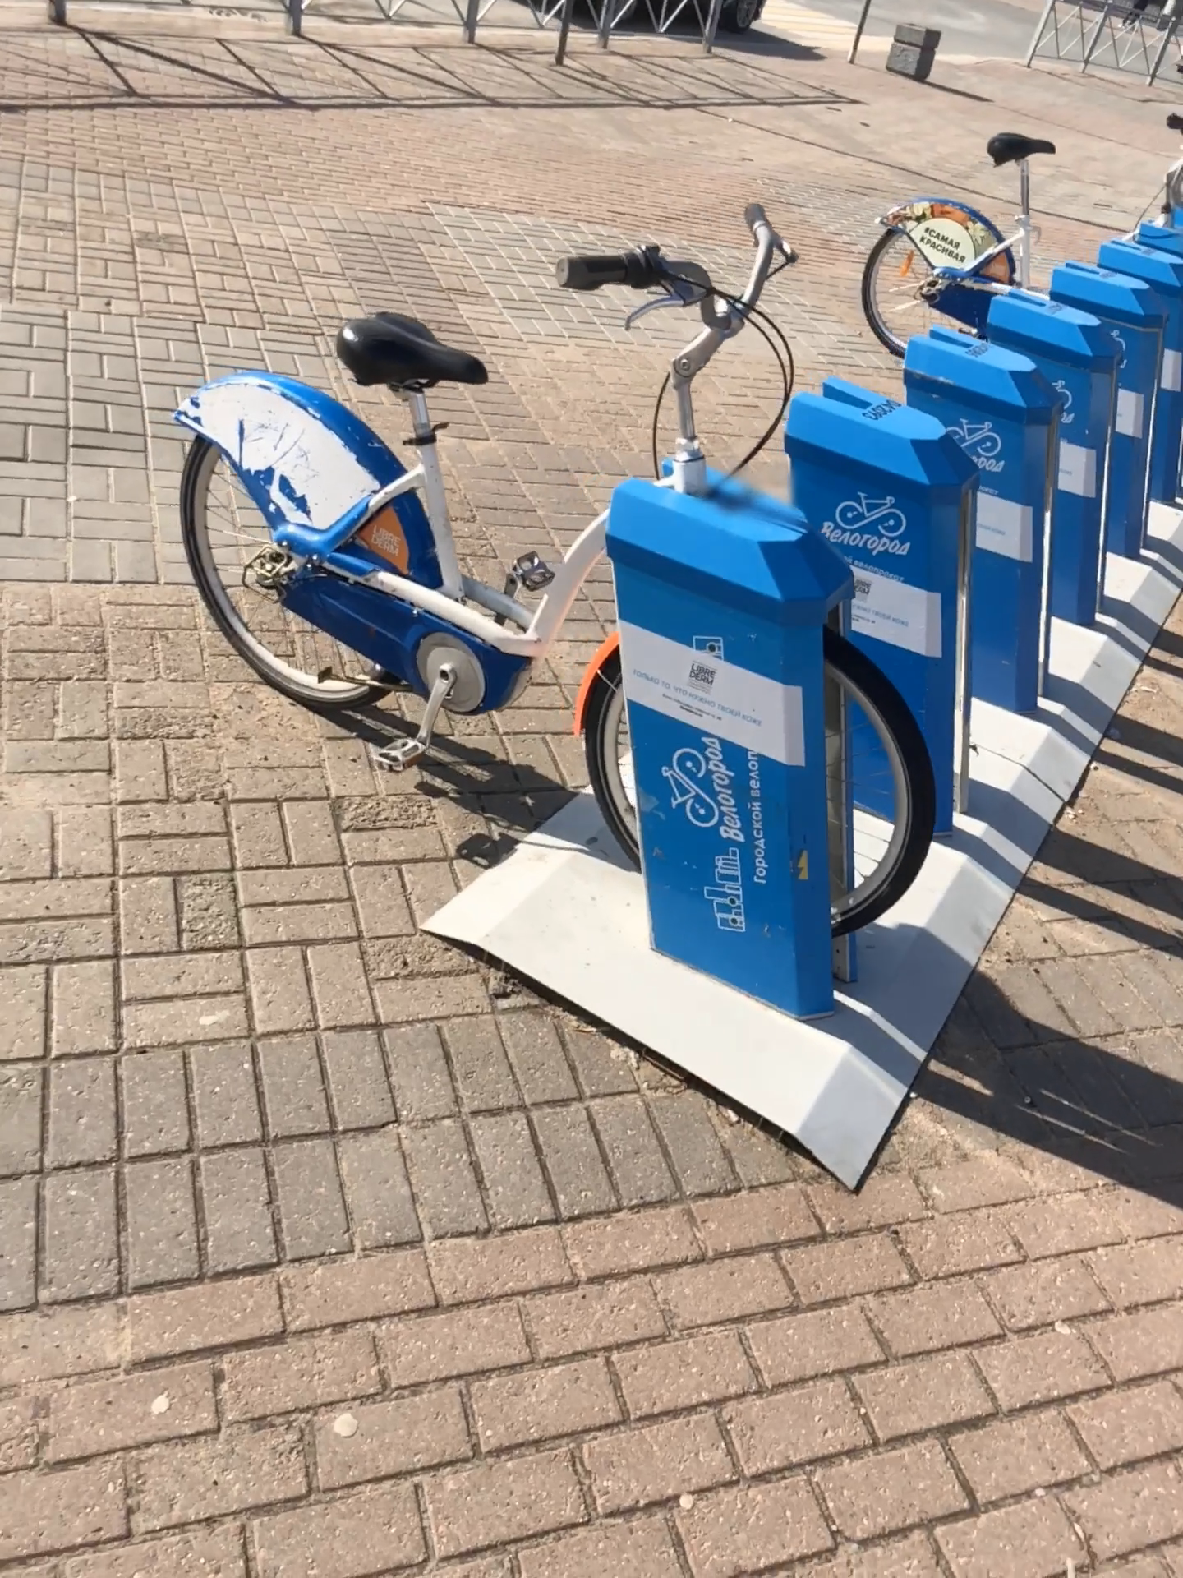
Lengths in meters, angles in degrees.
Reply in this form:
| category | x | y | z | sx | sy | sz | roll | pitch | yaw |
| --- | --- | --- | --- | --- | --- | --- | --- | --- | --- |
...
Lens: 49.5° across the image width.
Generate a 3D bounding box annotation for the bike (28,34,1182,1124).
| category | x | y | z | sx | sy | sz | roll | pitch | yaw |
| --- | --- | --- | --- | --- | --- | --- | --- | --- | --- |
| bike | -0.082 | -0.439 | 2.179 | 1.676 | 1.233 | 0.685 | 27 | 36 | 21 |
